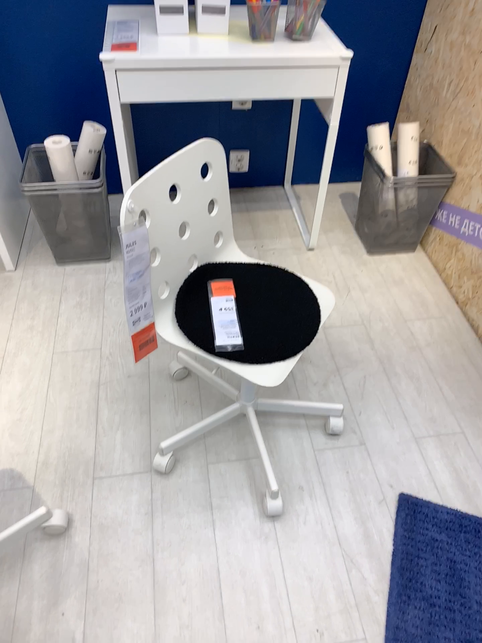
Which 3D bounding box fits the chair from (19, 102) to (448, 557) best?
[{"bbox_3d":[0.015,0.015,1.192,0.590,0.736,0.603,23,50,18],"label":"chair"}]
